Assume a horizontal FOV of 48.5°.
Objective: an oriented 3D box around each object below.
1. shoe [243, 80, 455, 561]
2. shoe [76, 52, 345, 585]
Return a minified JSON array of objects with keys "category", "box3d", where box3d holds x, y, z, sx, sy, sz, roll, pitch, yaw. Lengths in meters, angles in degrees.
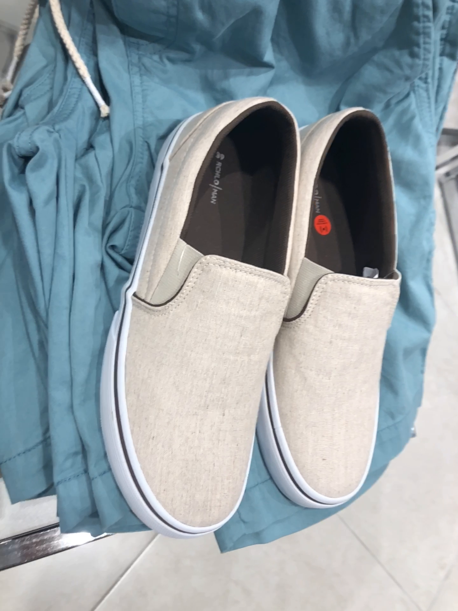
[{"category":"shoe","box3d":[0.075,0.008,0.338,0.100,0.090,0.260,2,86,-26]},{"category":"shoe","box3d":[-0.013,0.009,0.307,0.100,0.090,0.260,11,83,-24]}]
